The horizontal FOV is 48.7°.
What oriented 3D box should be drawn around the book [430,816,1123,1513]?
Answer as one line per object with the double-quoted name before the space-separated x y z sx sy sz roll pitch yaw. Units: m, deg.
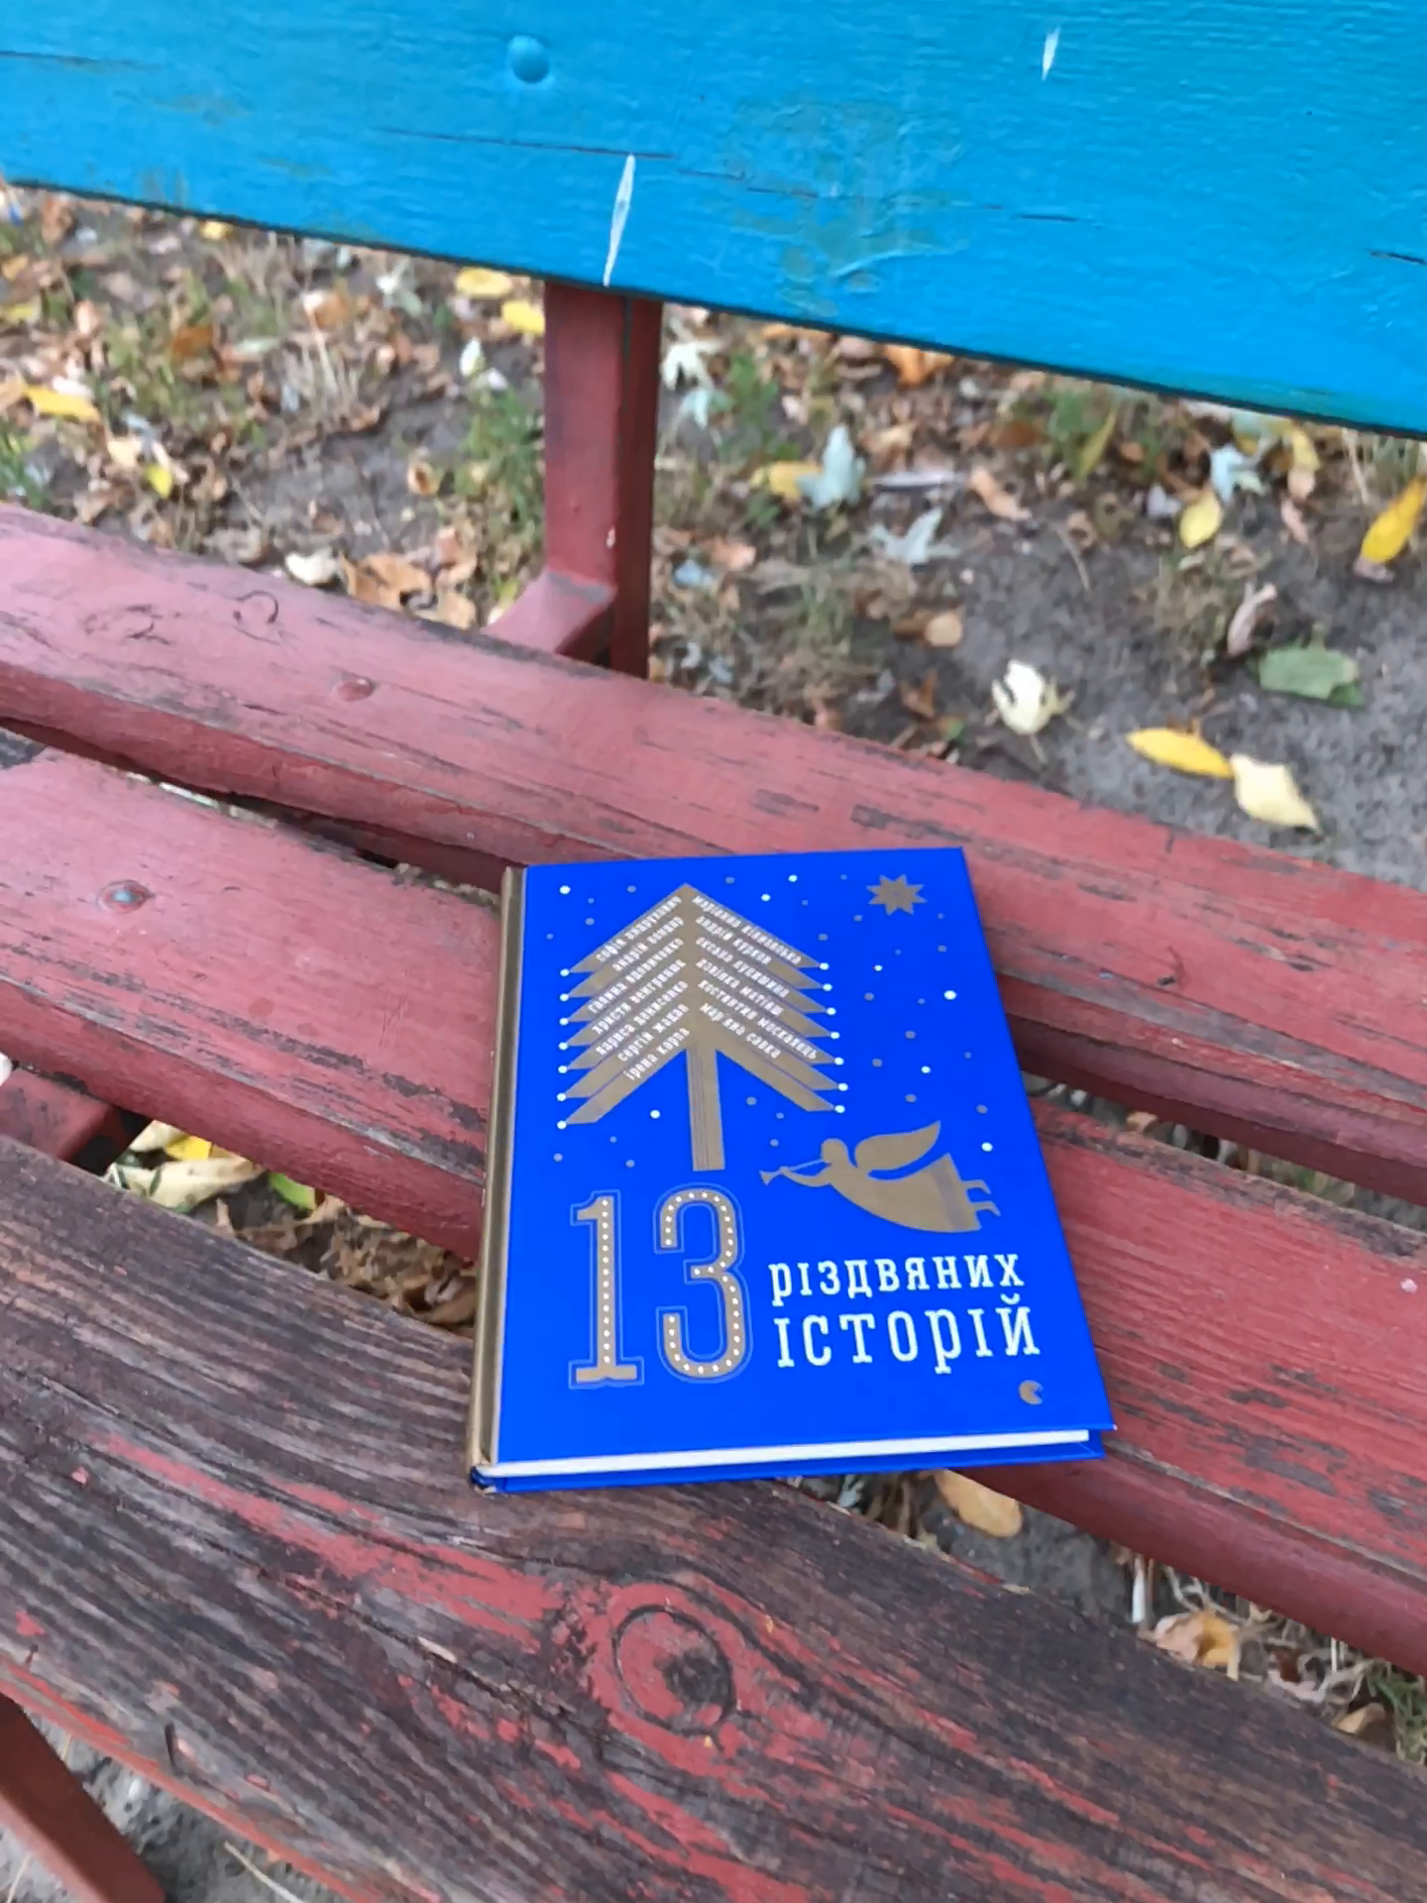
"book" 0.008 0.043 0.433 0.155 0.020 0.213 -3 45 -2
